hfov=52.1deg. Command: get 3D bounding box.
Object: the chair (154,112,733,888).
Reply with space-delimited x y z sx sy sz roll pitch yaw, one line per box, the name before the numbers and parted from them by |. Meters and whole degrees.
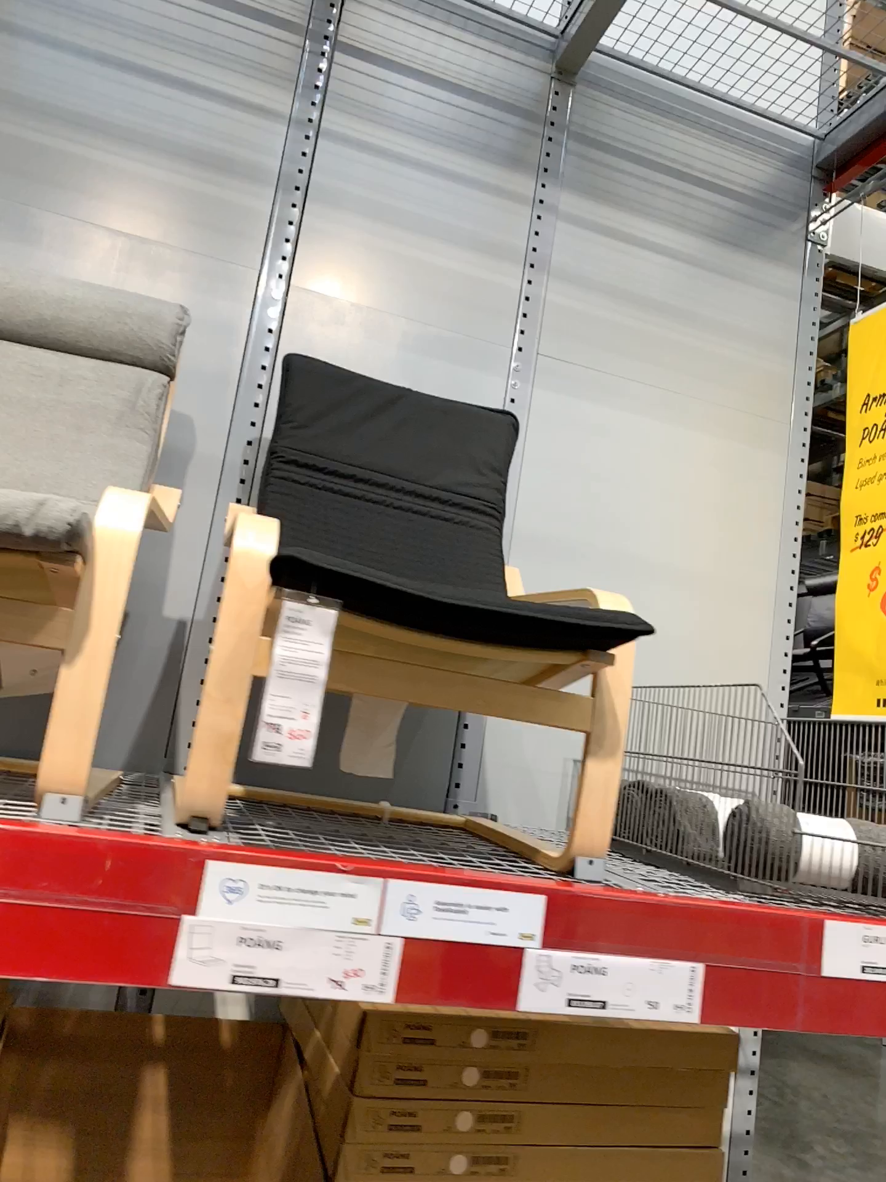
chair | -0.065 -0.082 1.714 0.720 1.012 0.839 12 -10 -17
